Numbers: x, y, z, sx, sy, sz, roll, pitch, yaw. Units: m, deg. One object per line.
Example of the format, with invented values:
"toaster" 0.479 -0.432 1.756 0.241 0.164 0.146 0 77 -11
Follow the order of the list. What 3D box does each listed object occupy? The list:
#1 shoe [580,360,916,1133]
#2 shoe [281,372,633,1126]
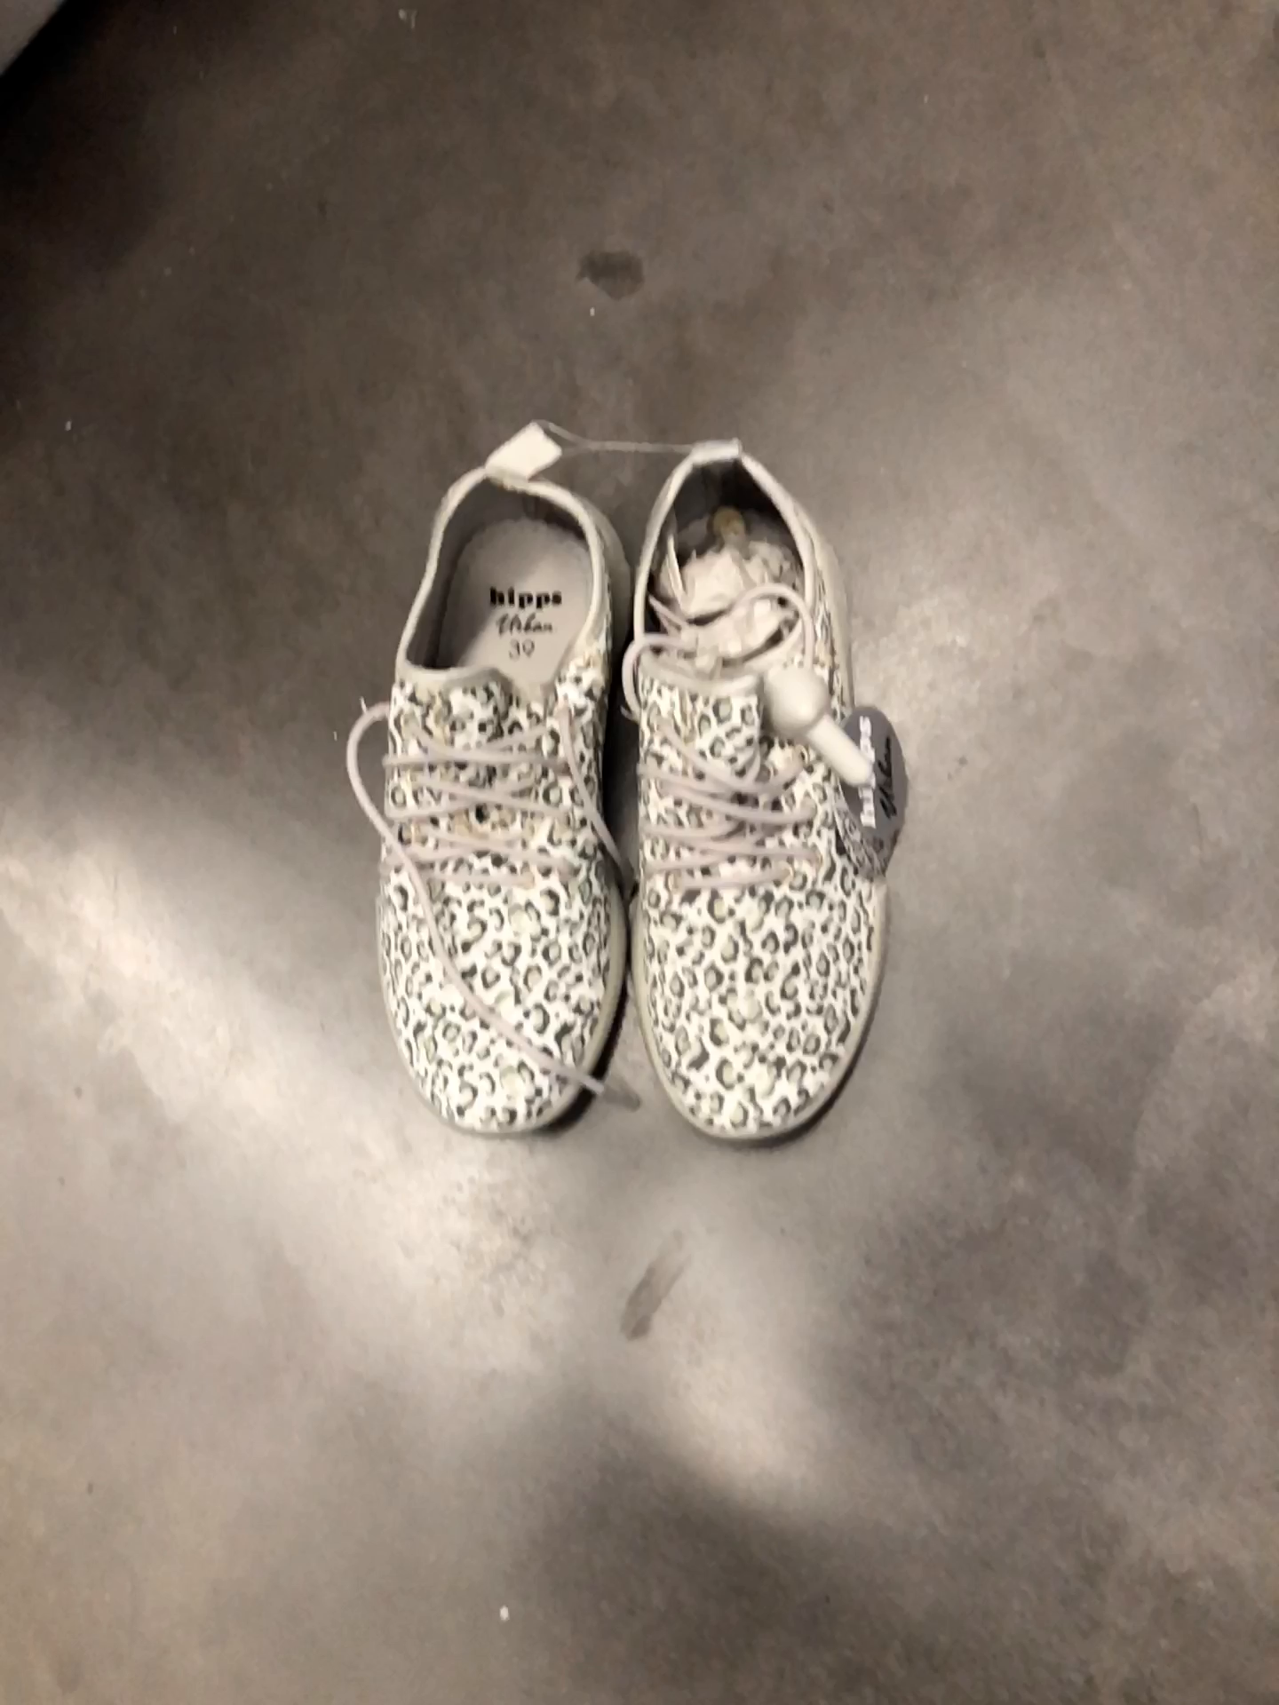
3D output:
"shoe" 0.035 -0.030 0.494 0.100 0.100 0.250 -2 78 5
"shoe" -0.058 -0.030 0.506 0.100 0.100 0.250 -2 78 5
